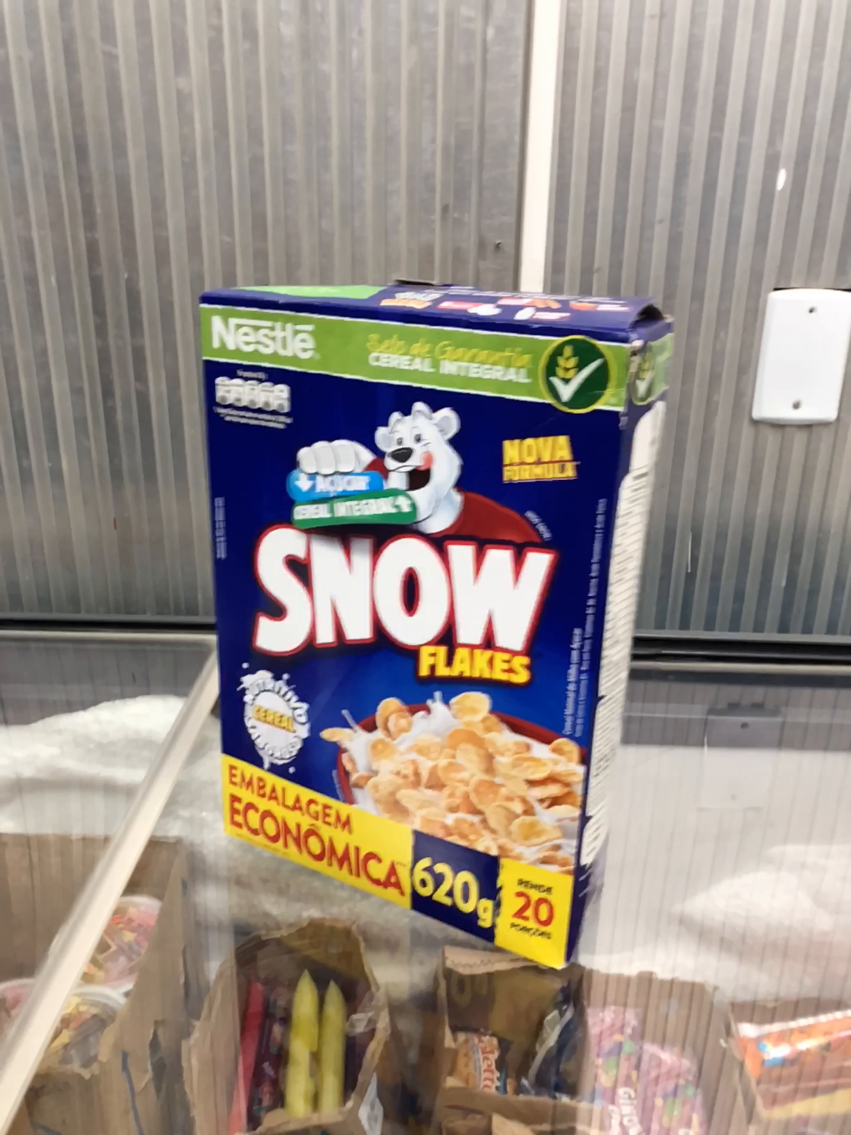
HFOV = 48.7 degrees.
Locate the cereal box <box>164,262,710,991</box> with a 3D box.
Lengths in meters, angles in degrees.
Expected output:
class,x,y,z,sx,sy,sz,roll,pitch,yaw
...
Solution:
class,x,y,z,sx,sy,sz,roll,pitch,yaw
cereal box,-0.004,0.020,0.461,0.230,0.308,0.070,12,24,26
